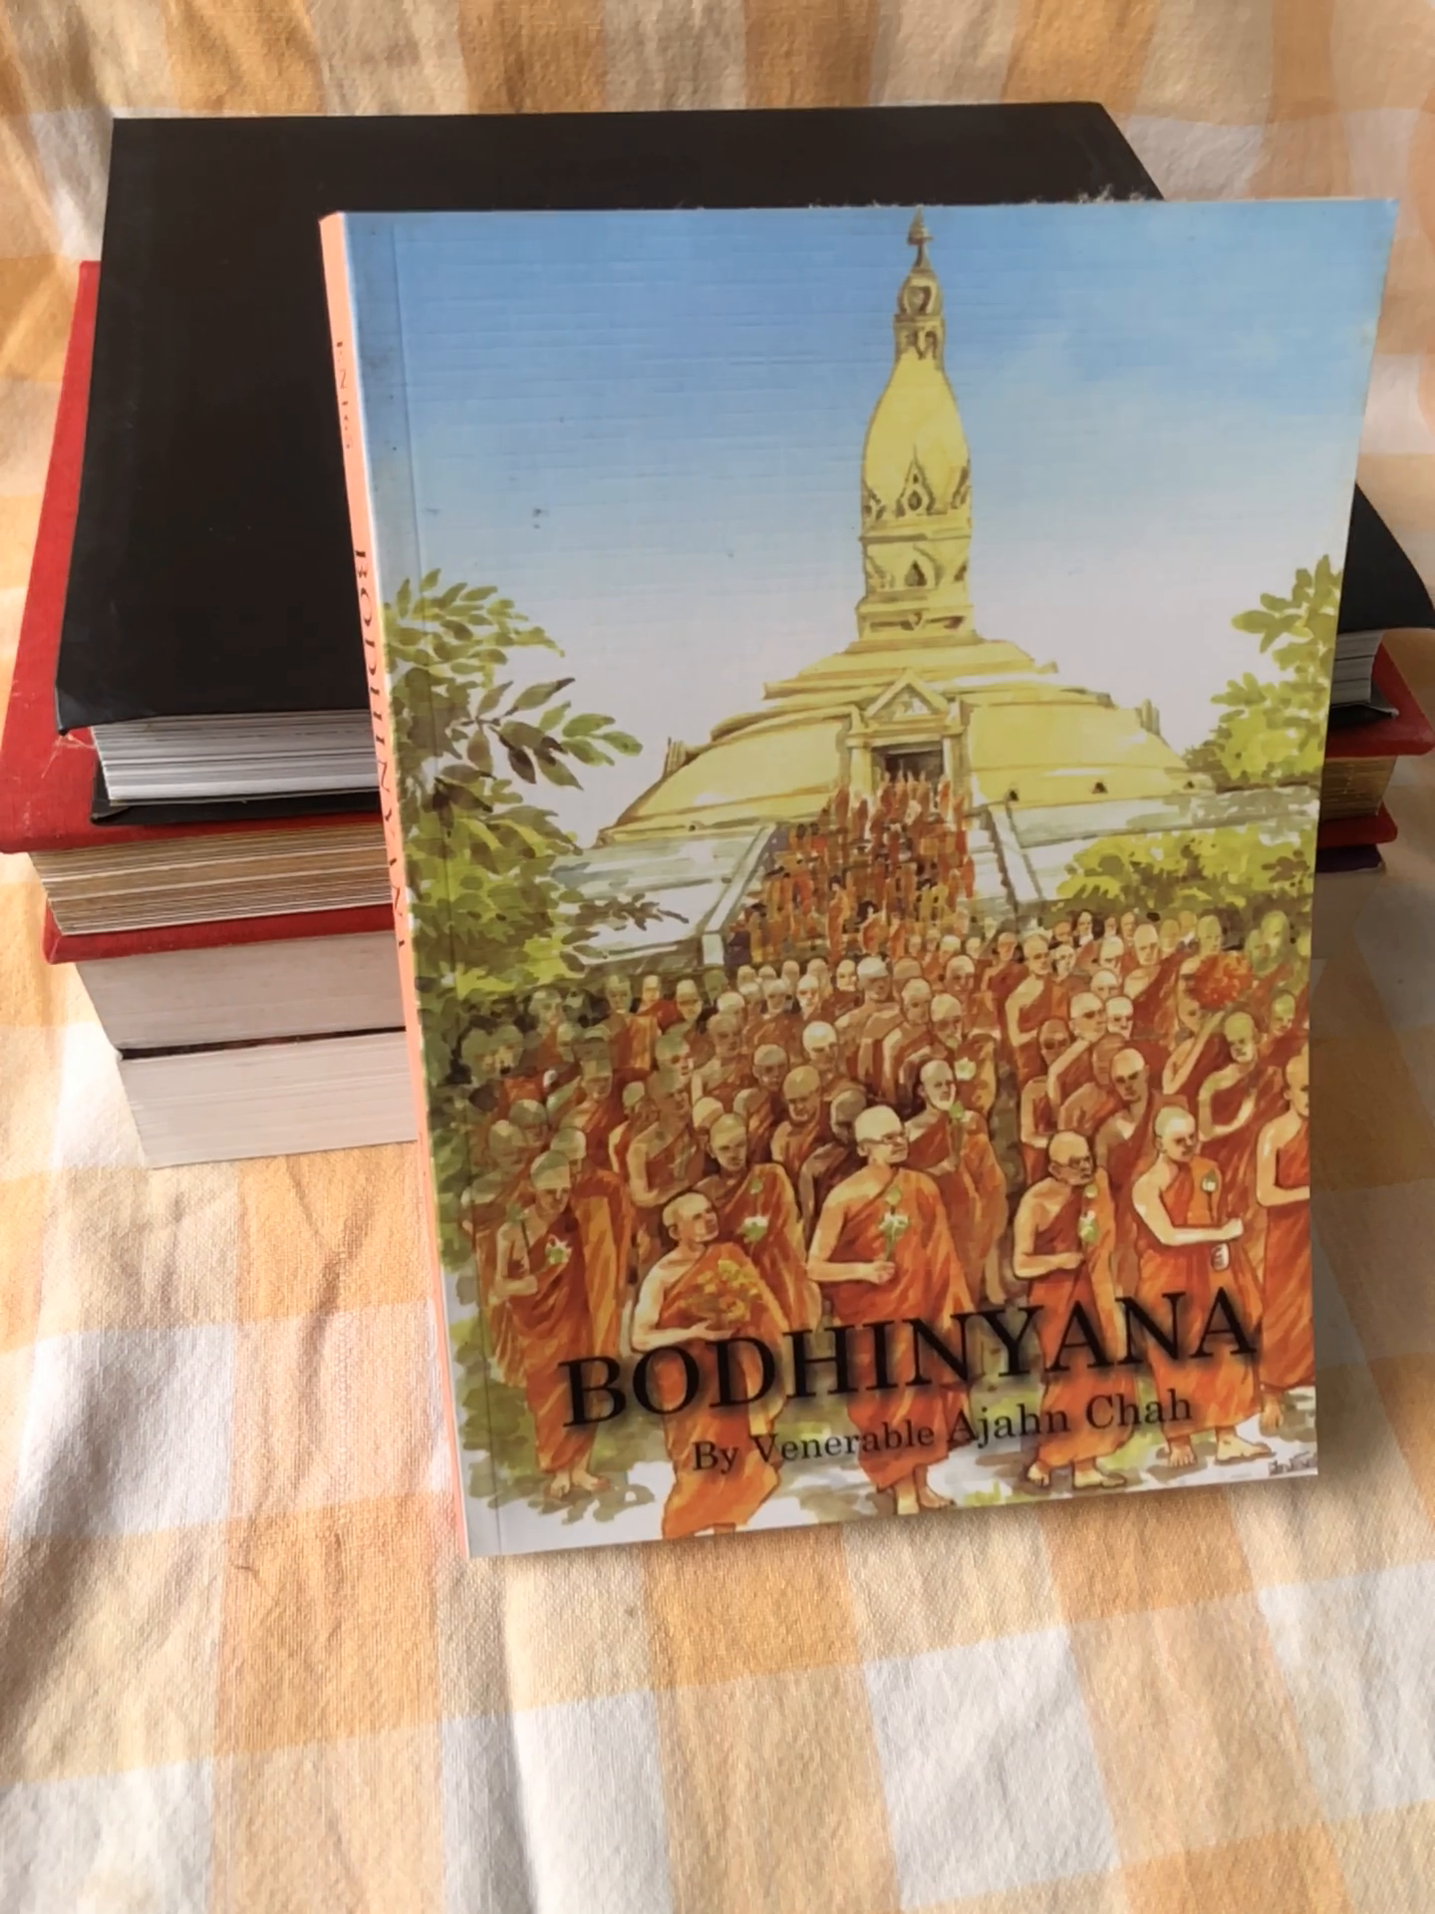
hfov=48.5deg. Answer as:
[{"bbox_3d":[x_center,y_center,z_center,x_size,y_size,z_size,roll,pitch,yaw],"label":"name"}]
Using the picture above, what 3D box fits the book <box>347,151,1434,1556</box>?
[{"bbox_3d":[0.029,-0.011,0.245,0.150,0.200,0.030,-3,15,-6],"label":"book"}]
